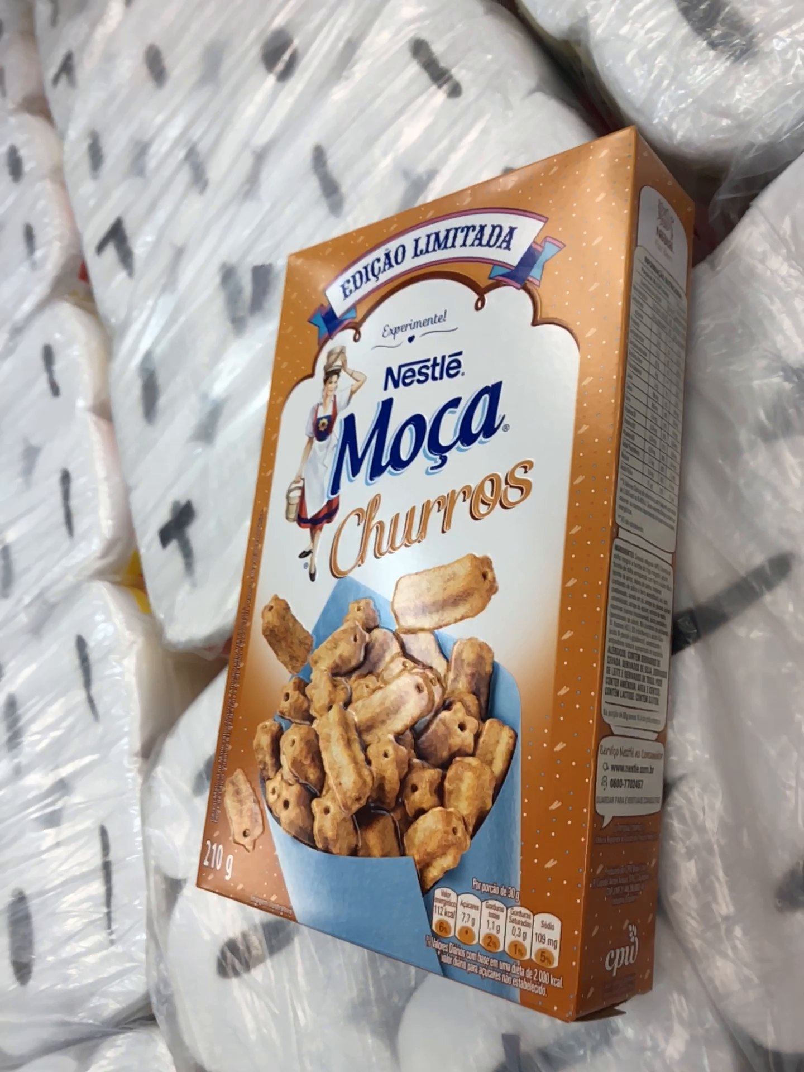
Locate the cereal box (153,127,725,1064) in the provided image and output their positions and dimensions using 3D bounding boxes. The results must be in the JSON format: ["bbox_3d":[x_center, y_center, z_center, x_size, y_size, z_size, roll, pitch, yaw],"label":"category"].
[{"bbox_3d":[0.008,0.011,0.300,0.171,0.050,0.240,-3,75,41],"label":"cereal box"}]
